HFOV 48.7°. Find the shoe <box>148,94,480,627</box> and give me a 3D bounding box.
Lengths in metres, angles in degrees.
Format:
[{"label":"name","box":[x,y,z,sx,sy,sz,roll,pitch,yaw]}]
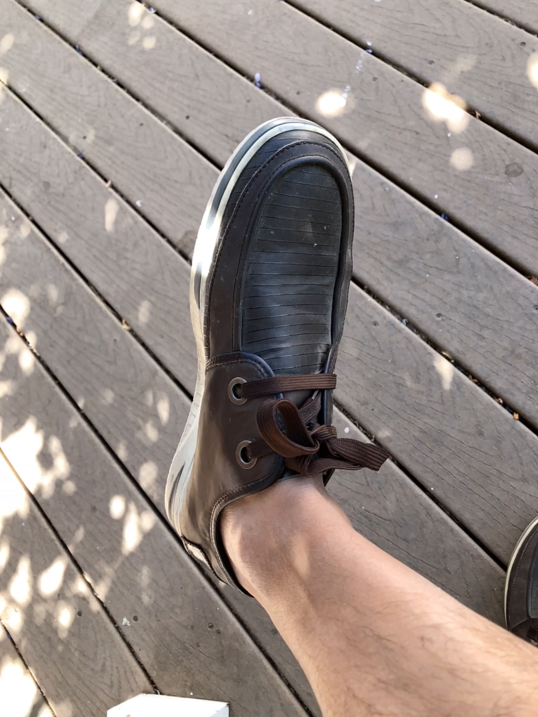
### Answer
[{"label":"shoe","box":[0.005,0.010,0.341,0.092,0.102,0.275,44,133,45]}]
